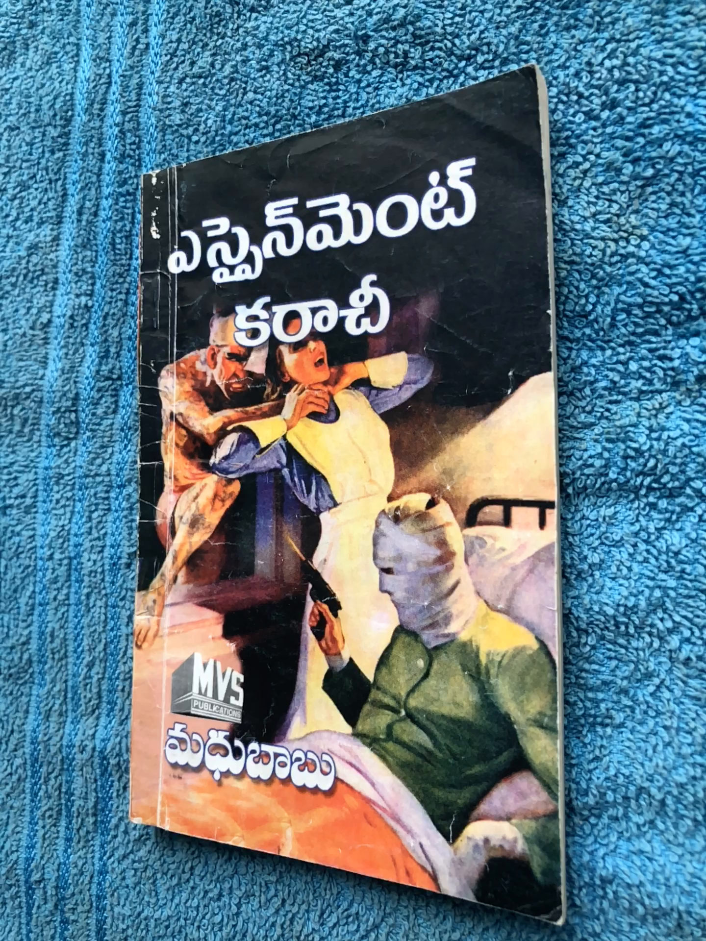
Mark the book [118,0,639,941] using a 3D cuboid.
[{"bbox_3d":[0.000,0.001,0.171,0.110,0.020,0.170,-2,86,27],"label":"book"}]
